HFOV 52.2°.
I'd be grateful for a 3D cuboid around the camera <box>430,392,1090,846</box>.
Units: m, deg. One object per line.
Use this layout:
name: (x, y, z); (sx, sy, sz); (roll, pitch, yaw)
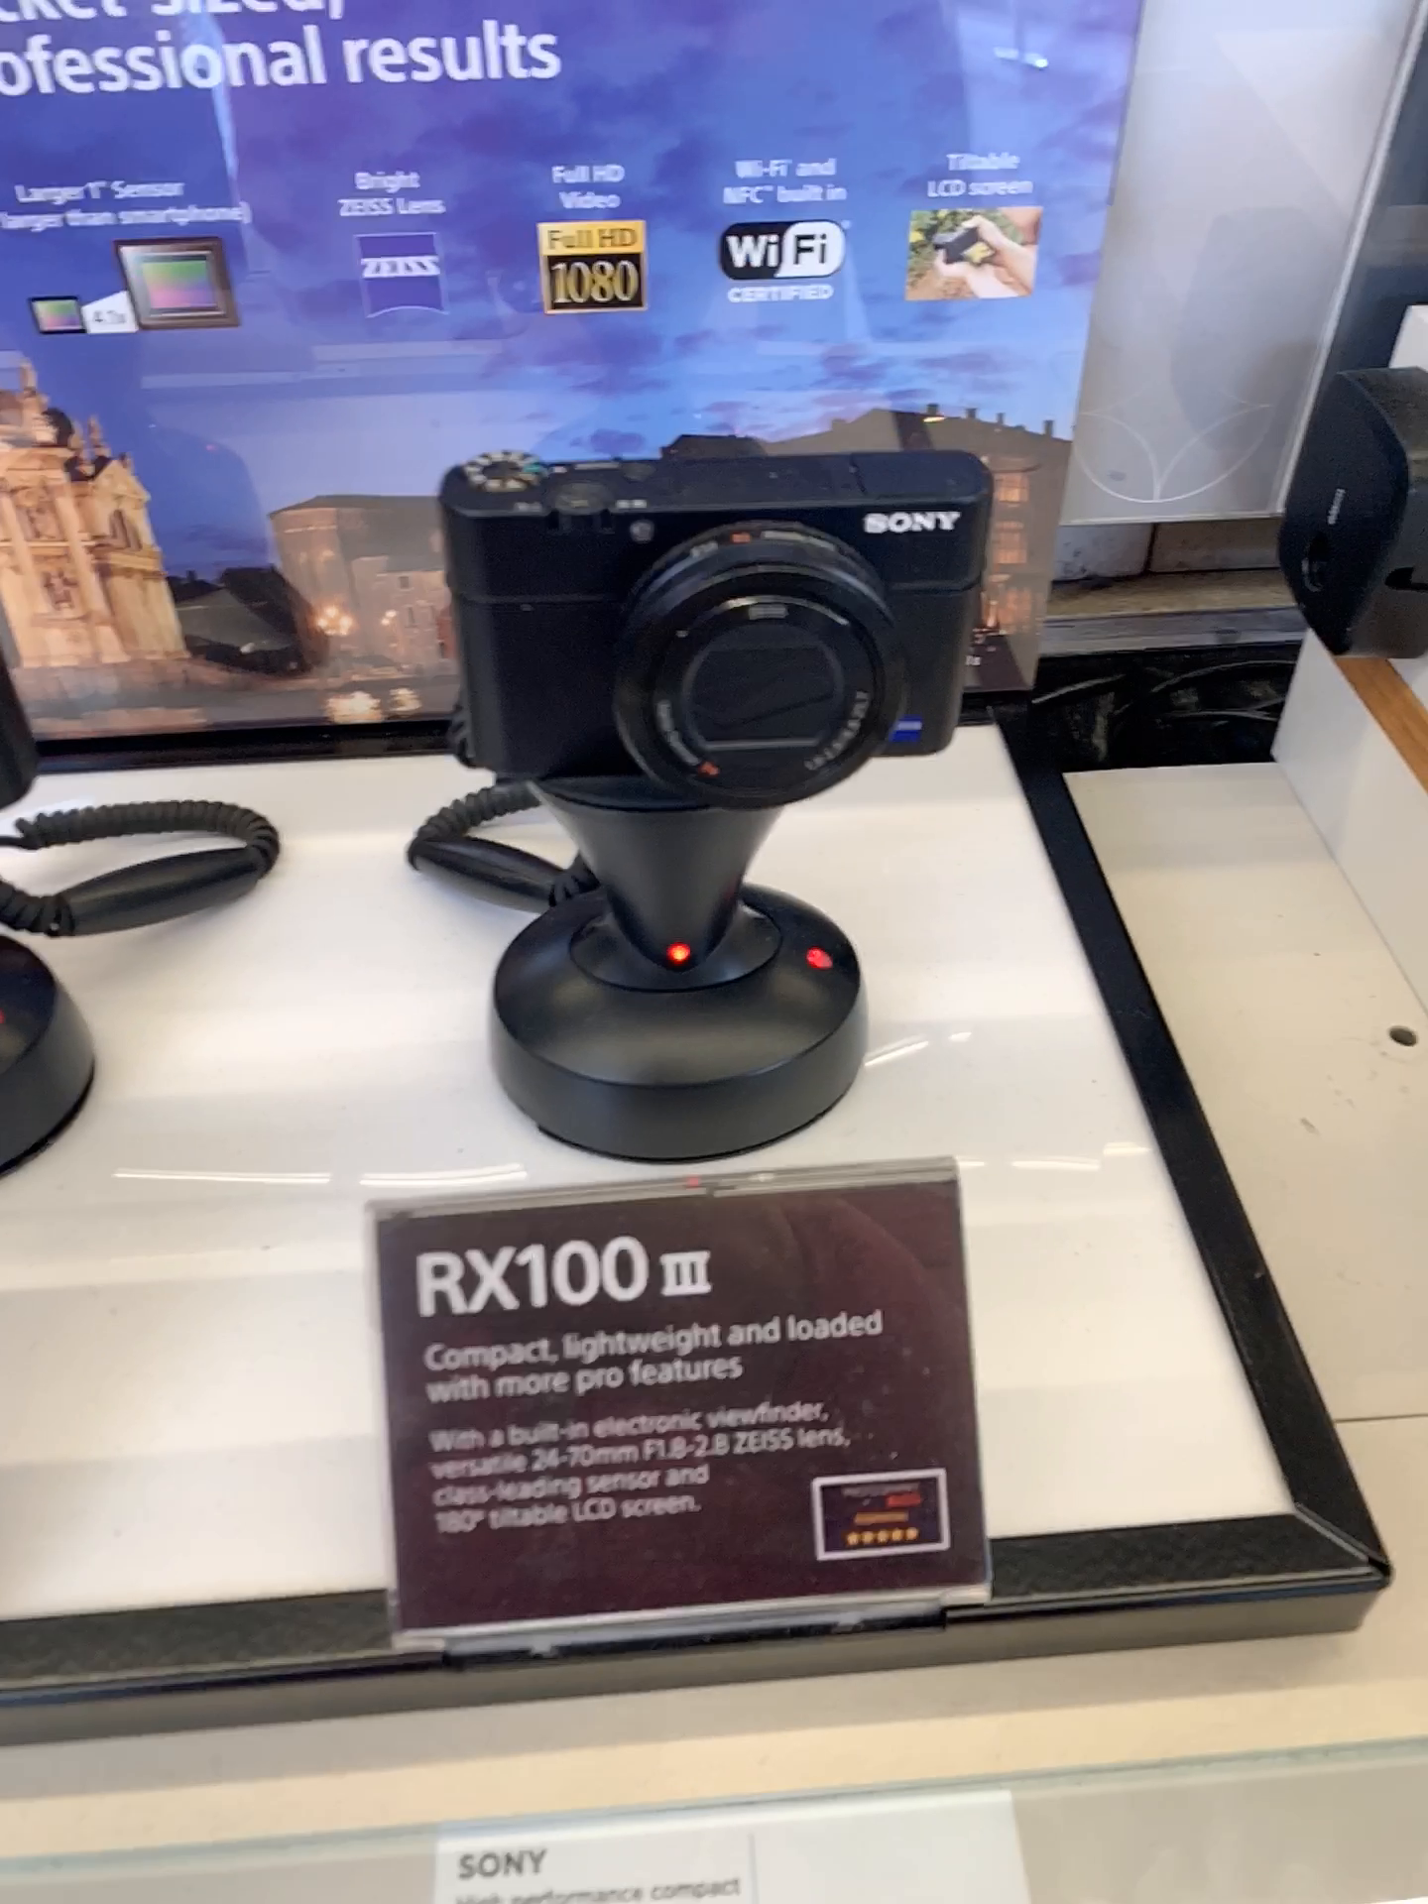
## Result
camera: (0.006, -0.064, 0.279); (0.110, 0.059, 0.050); (-6, 44, -5)
